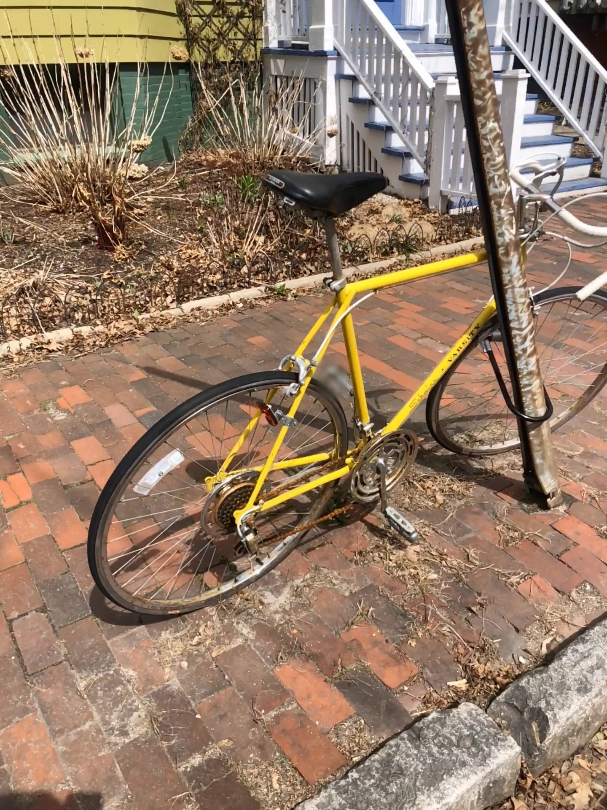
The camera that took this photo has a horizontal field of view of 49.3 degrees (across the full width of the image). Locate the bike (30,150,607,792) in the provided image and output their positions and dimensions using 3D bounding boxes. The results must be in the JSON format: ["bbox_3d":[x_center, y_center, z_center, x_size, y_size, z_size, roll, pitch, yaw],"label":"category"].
[{"bbox_3d":[0.338,-0.013,1.642,1.706,0.854,0.525,-20,32,-25],"label":"bike"}]
